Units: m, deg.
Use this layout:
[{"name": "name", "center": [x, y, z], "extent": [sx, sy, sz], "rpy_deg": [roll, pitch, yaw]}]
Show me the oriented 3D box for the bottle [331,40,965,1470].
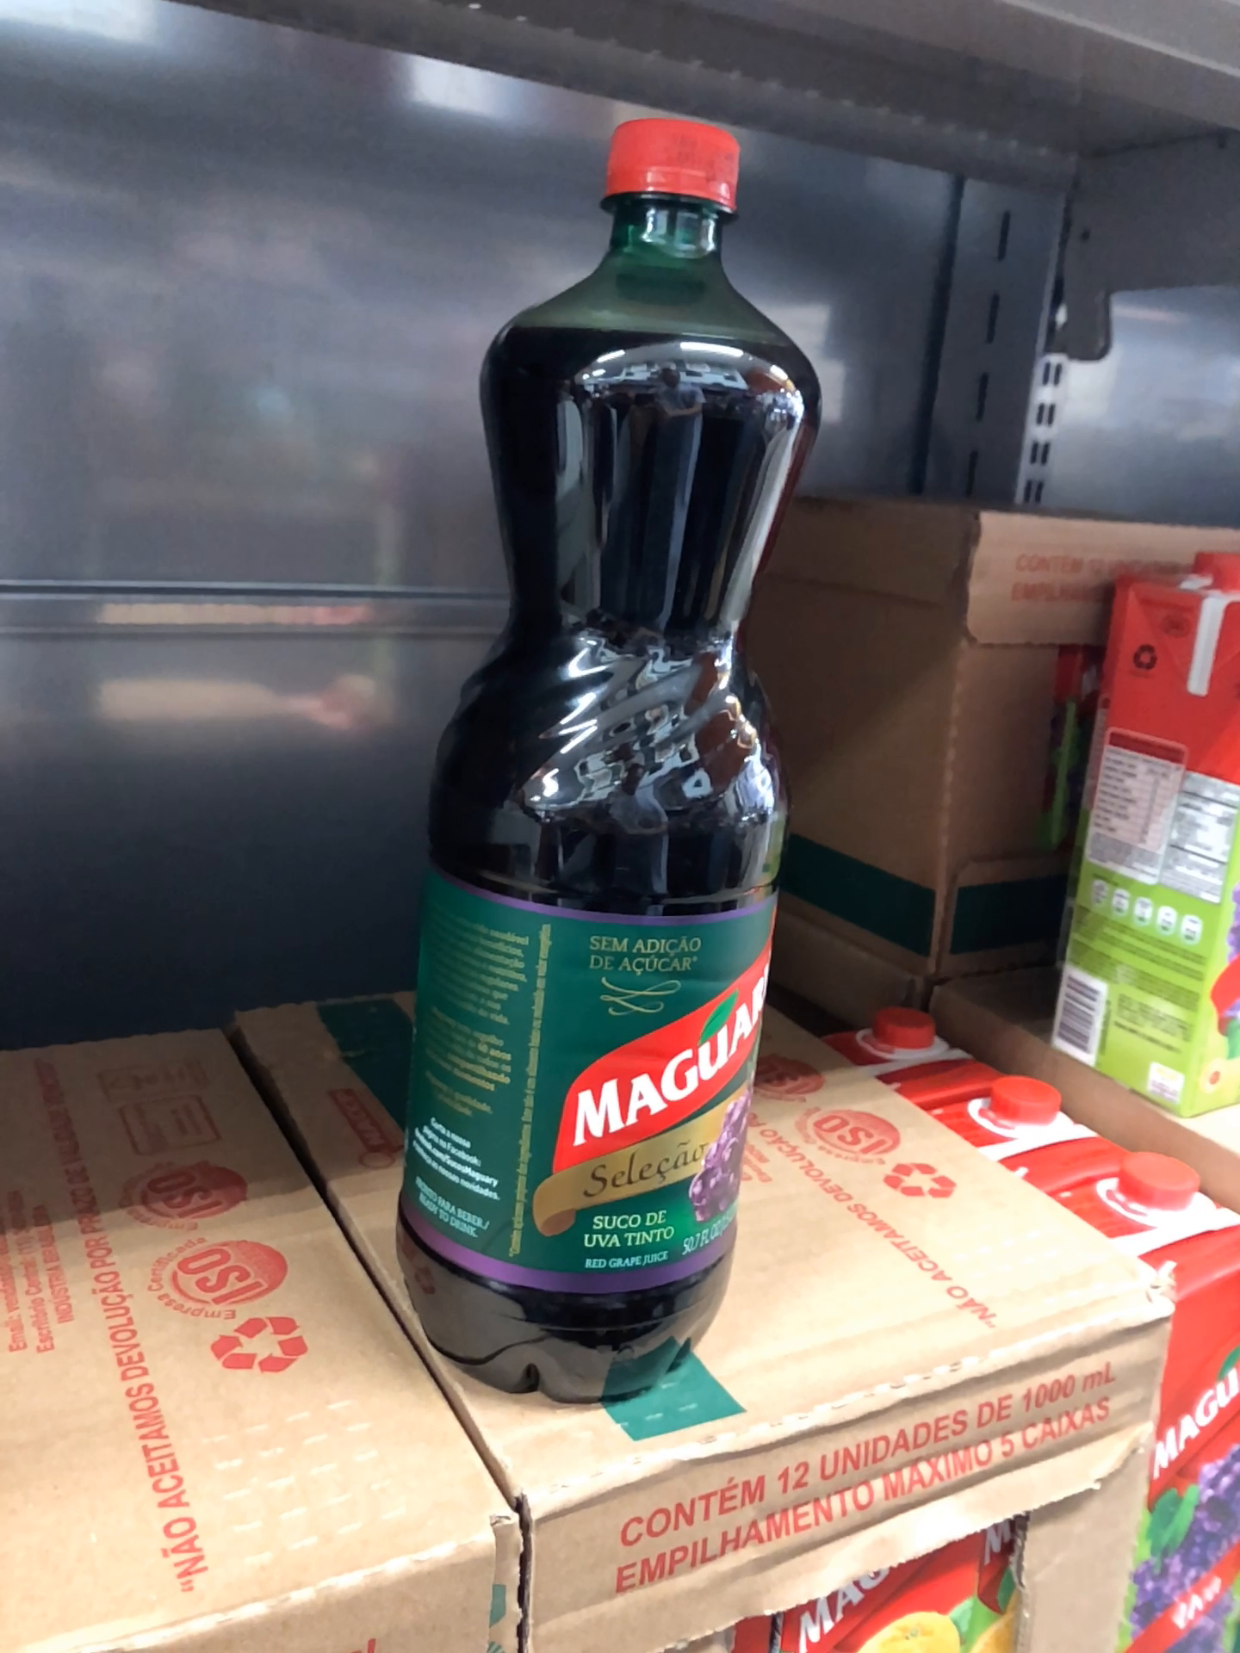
[{"name": "bottle", "center": [0.001, -0.012, 0.335], "extent": [0.080, 0.289, 0.100], "rpy_deg": [18, 18, 42]}]
